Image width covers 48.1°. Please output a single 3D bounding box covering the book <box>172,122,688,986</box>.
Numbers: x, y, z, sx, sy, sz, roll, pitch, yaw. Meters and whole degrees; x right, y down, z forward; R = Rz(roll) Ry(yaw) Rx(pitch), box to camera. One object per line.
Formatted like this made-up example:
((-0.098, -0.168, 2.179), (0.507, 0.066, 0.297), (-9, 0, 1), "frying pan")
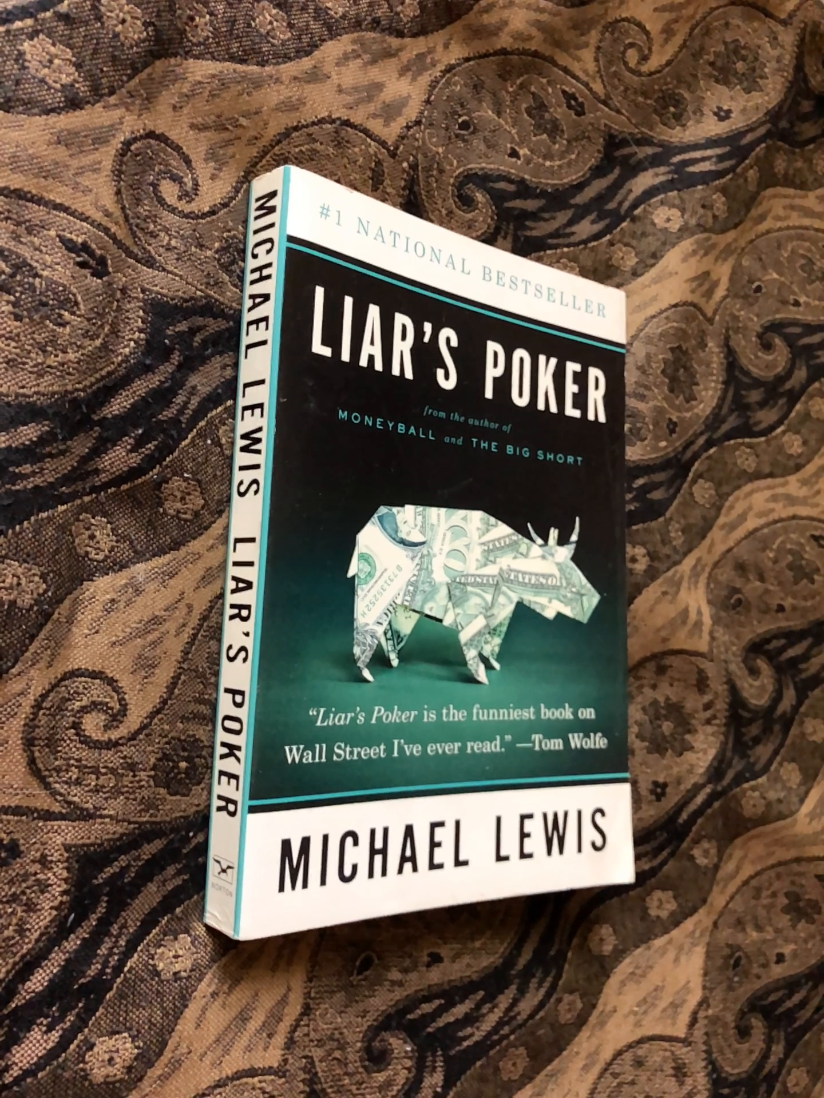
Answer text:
((0.016, 0.006, 0.283), (0.151, 0.040, 0.210), (8, 84, -35), "book")
